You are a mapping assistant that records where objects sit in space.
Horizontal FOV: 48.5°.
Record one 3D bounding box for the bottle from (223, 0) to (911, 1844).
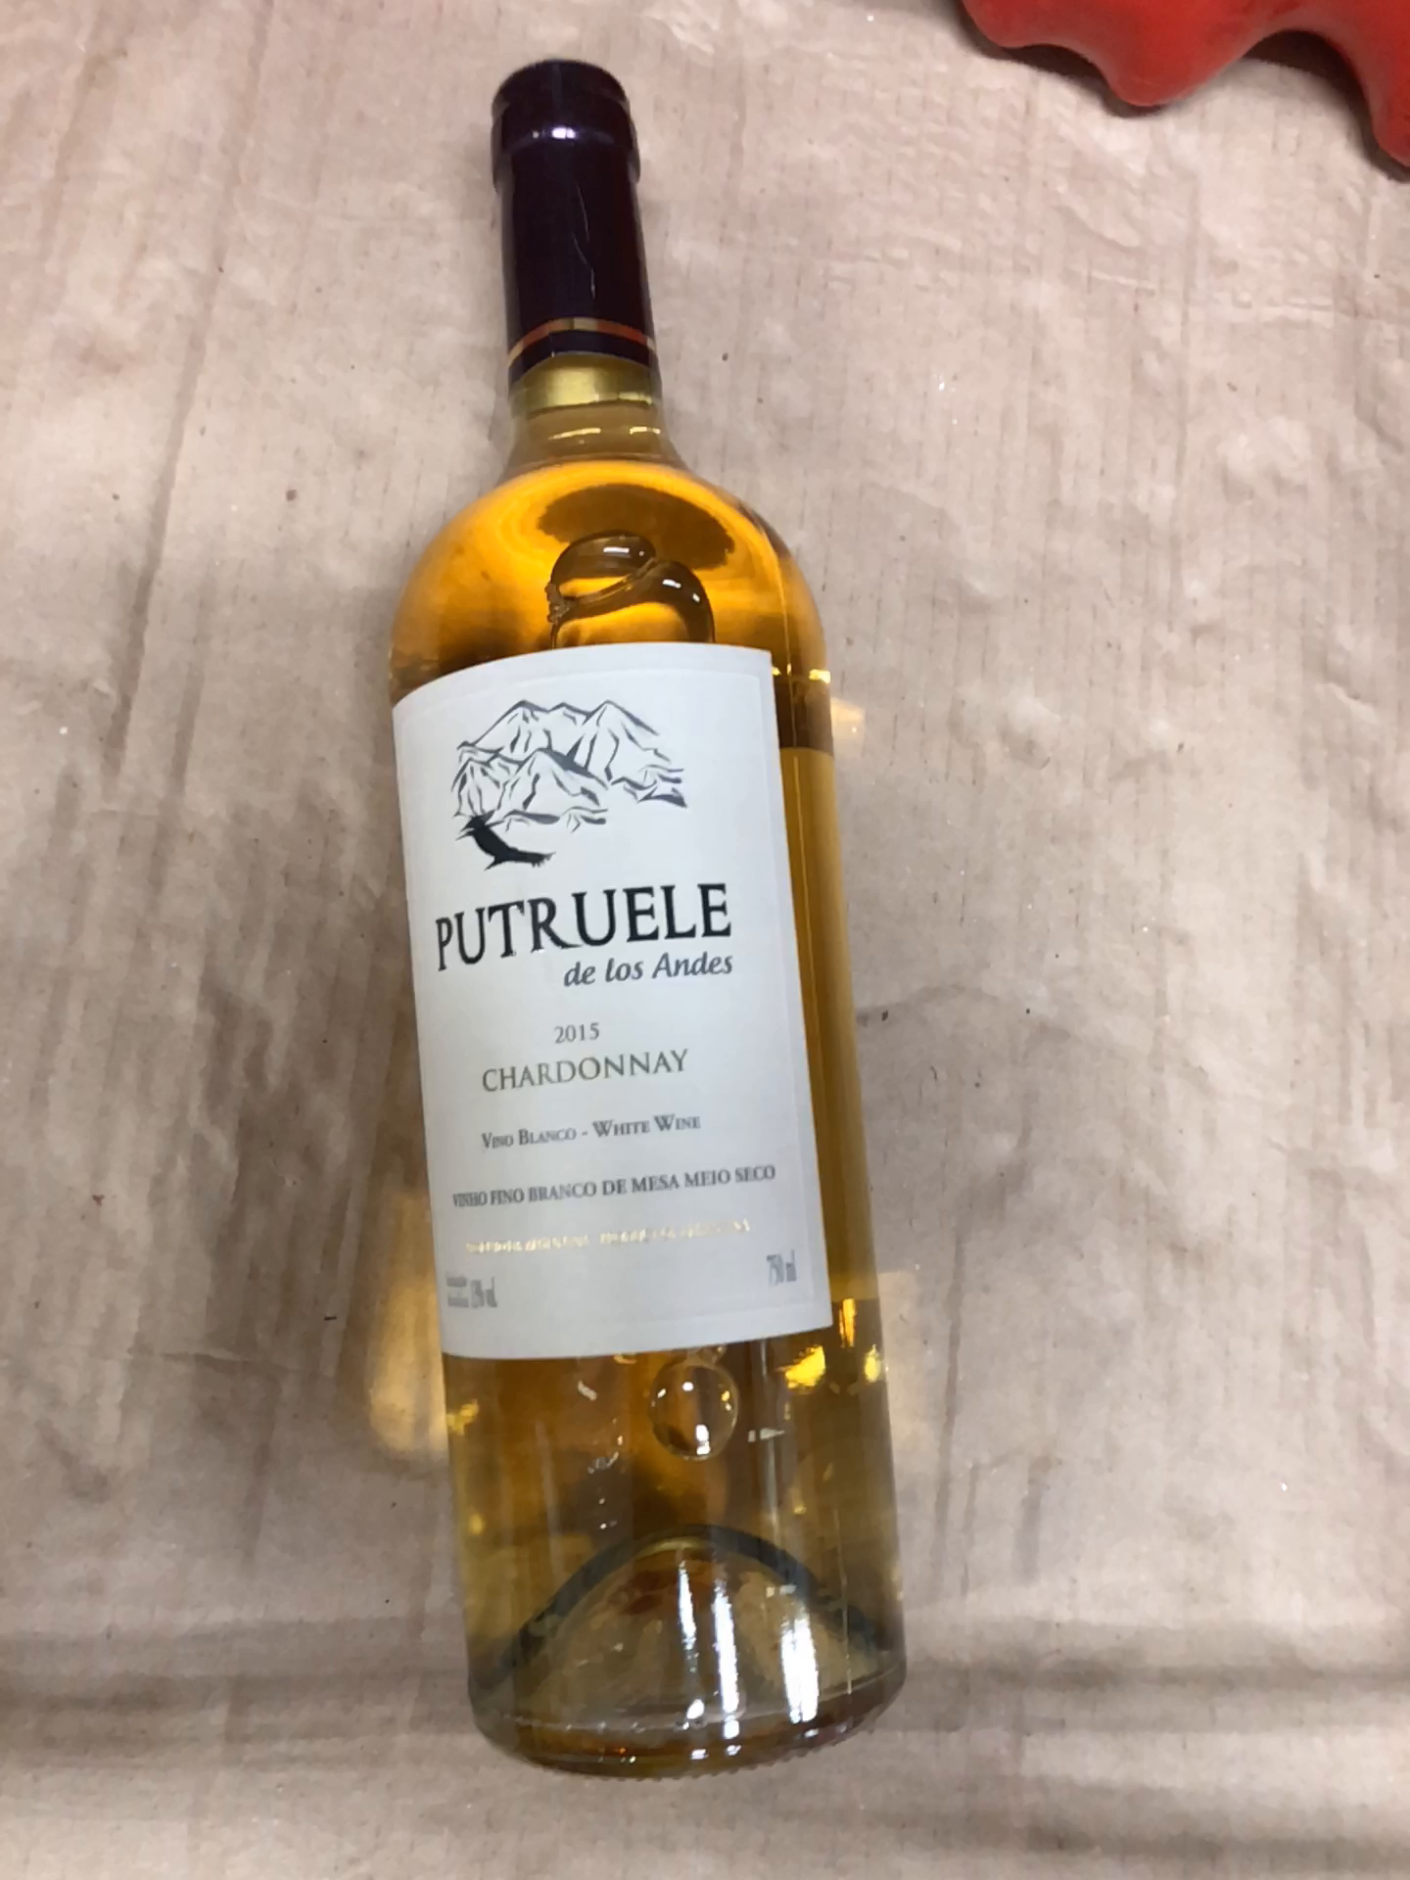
[{"bbox_3d":[-0.023,-0.022,0.267,0.080,0.070,0.300,-7,80,11],"label":"bottle"}]
